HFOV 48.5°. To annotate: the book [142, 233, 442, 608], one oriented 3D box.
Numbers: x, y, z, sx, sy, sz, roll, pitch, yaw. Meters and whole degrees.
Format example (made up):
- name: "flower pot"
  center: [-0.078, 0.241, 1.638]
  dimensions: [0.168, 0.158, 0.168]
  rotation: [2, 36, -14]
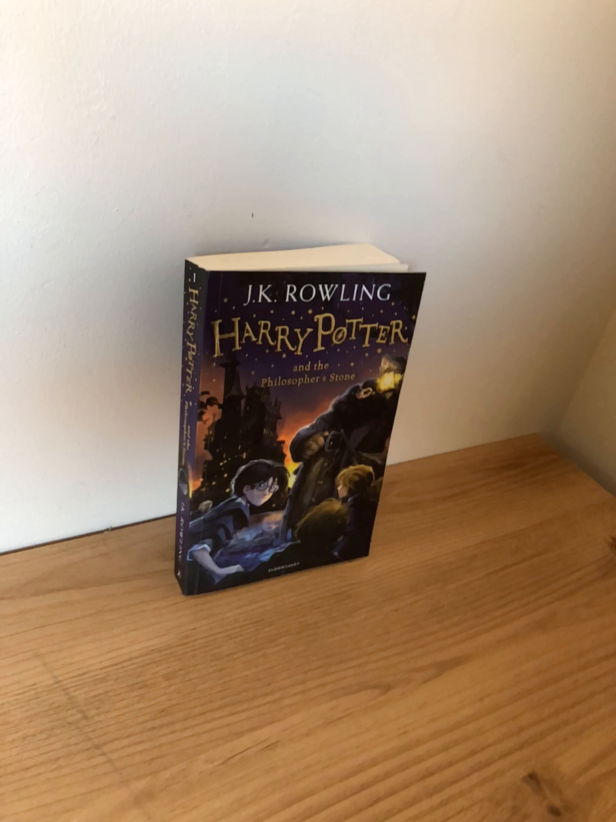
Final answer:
- name: "book"
  center: [-0.016, 0.003, 0.402]
  dimensions: [0.135, 0.192, 0.068]
  rotation: [-5, 27, -29]
